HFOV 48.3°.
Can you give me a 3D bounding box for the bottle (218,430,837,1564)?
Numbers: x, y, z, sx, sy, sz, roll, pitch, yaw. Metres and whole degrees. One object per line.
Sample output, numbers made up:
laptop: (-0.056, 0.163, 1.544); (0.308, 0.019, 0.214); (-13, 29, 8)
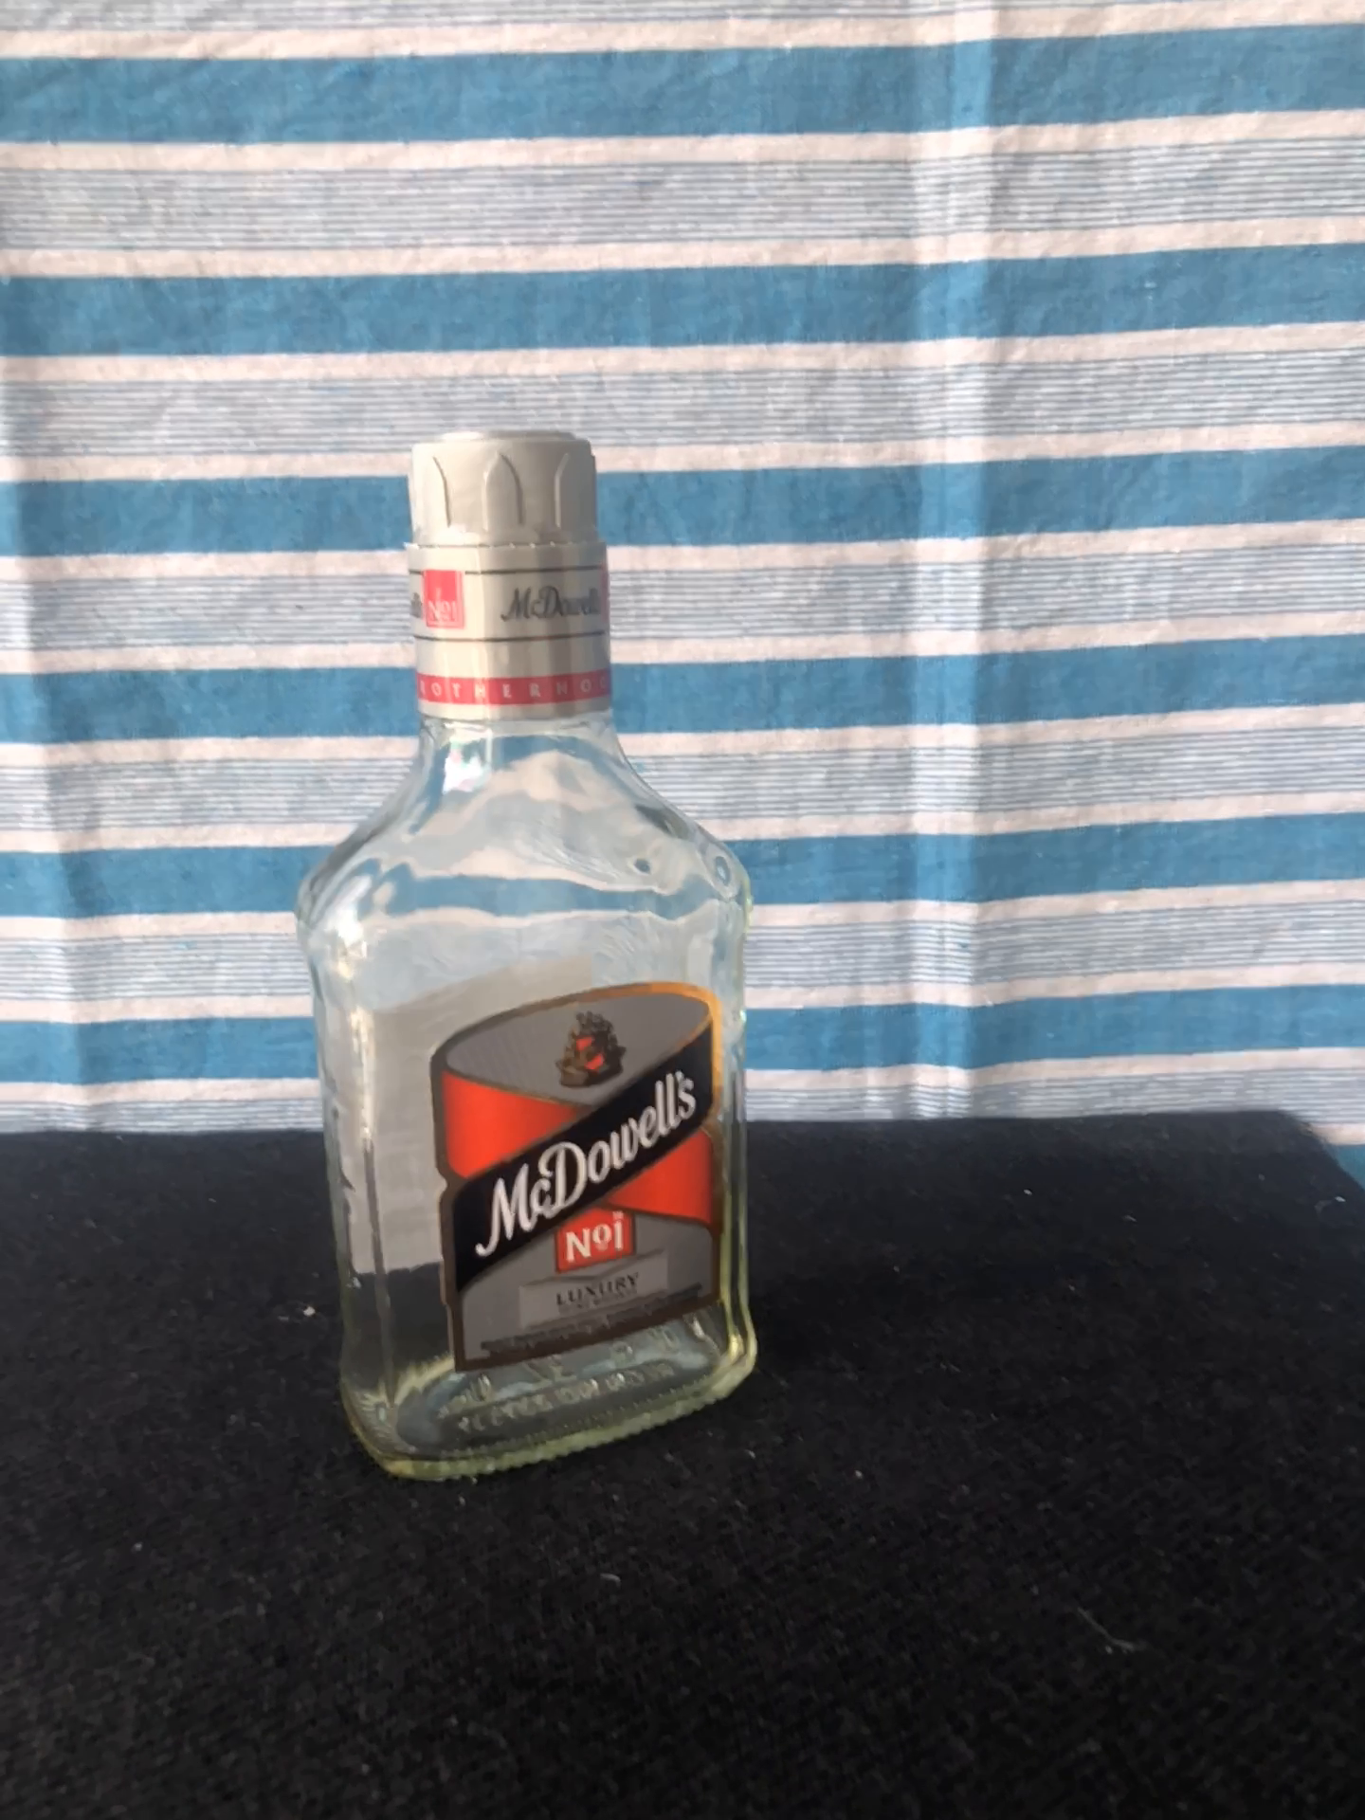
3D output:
bottle: (-0.023, 0.008, 0.226); (0.070, 0.149, 0.050); (-7, 18, -26)
